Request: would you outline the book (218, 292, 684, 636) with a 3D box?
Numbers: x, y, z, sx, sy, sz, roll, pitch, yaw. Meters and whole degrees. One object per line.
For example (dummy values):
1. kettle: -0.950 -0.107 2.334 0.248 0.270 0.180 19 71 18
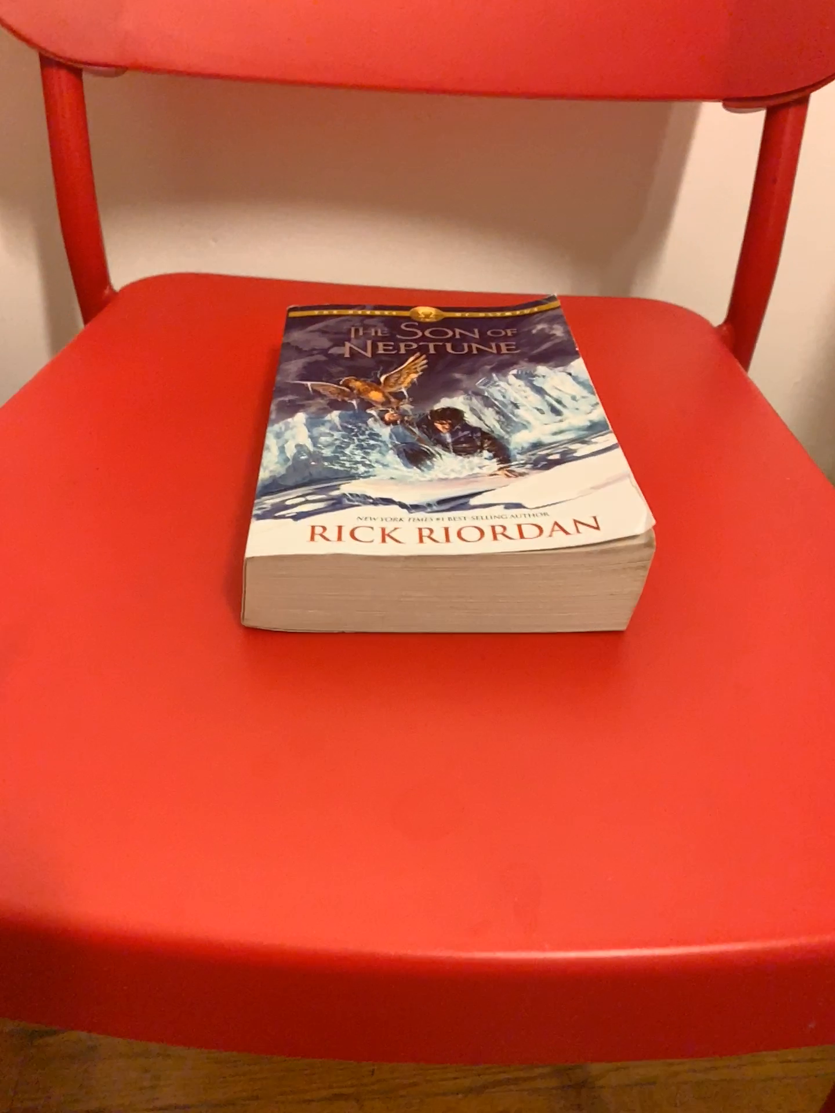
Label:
1. book: 0.007 -0.049 0.348 0.142 0.040 0.189 1 38 -4
